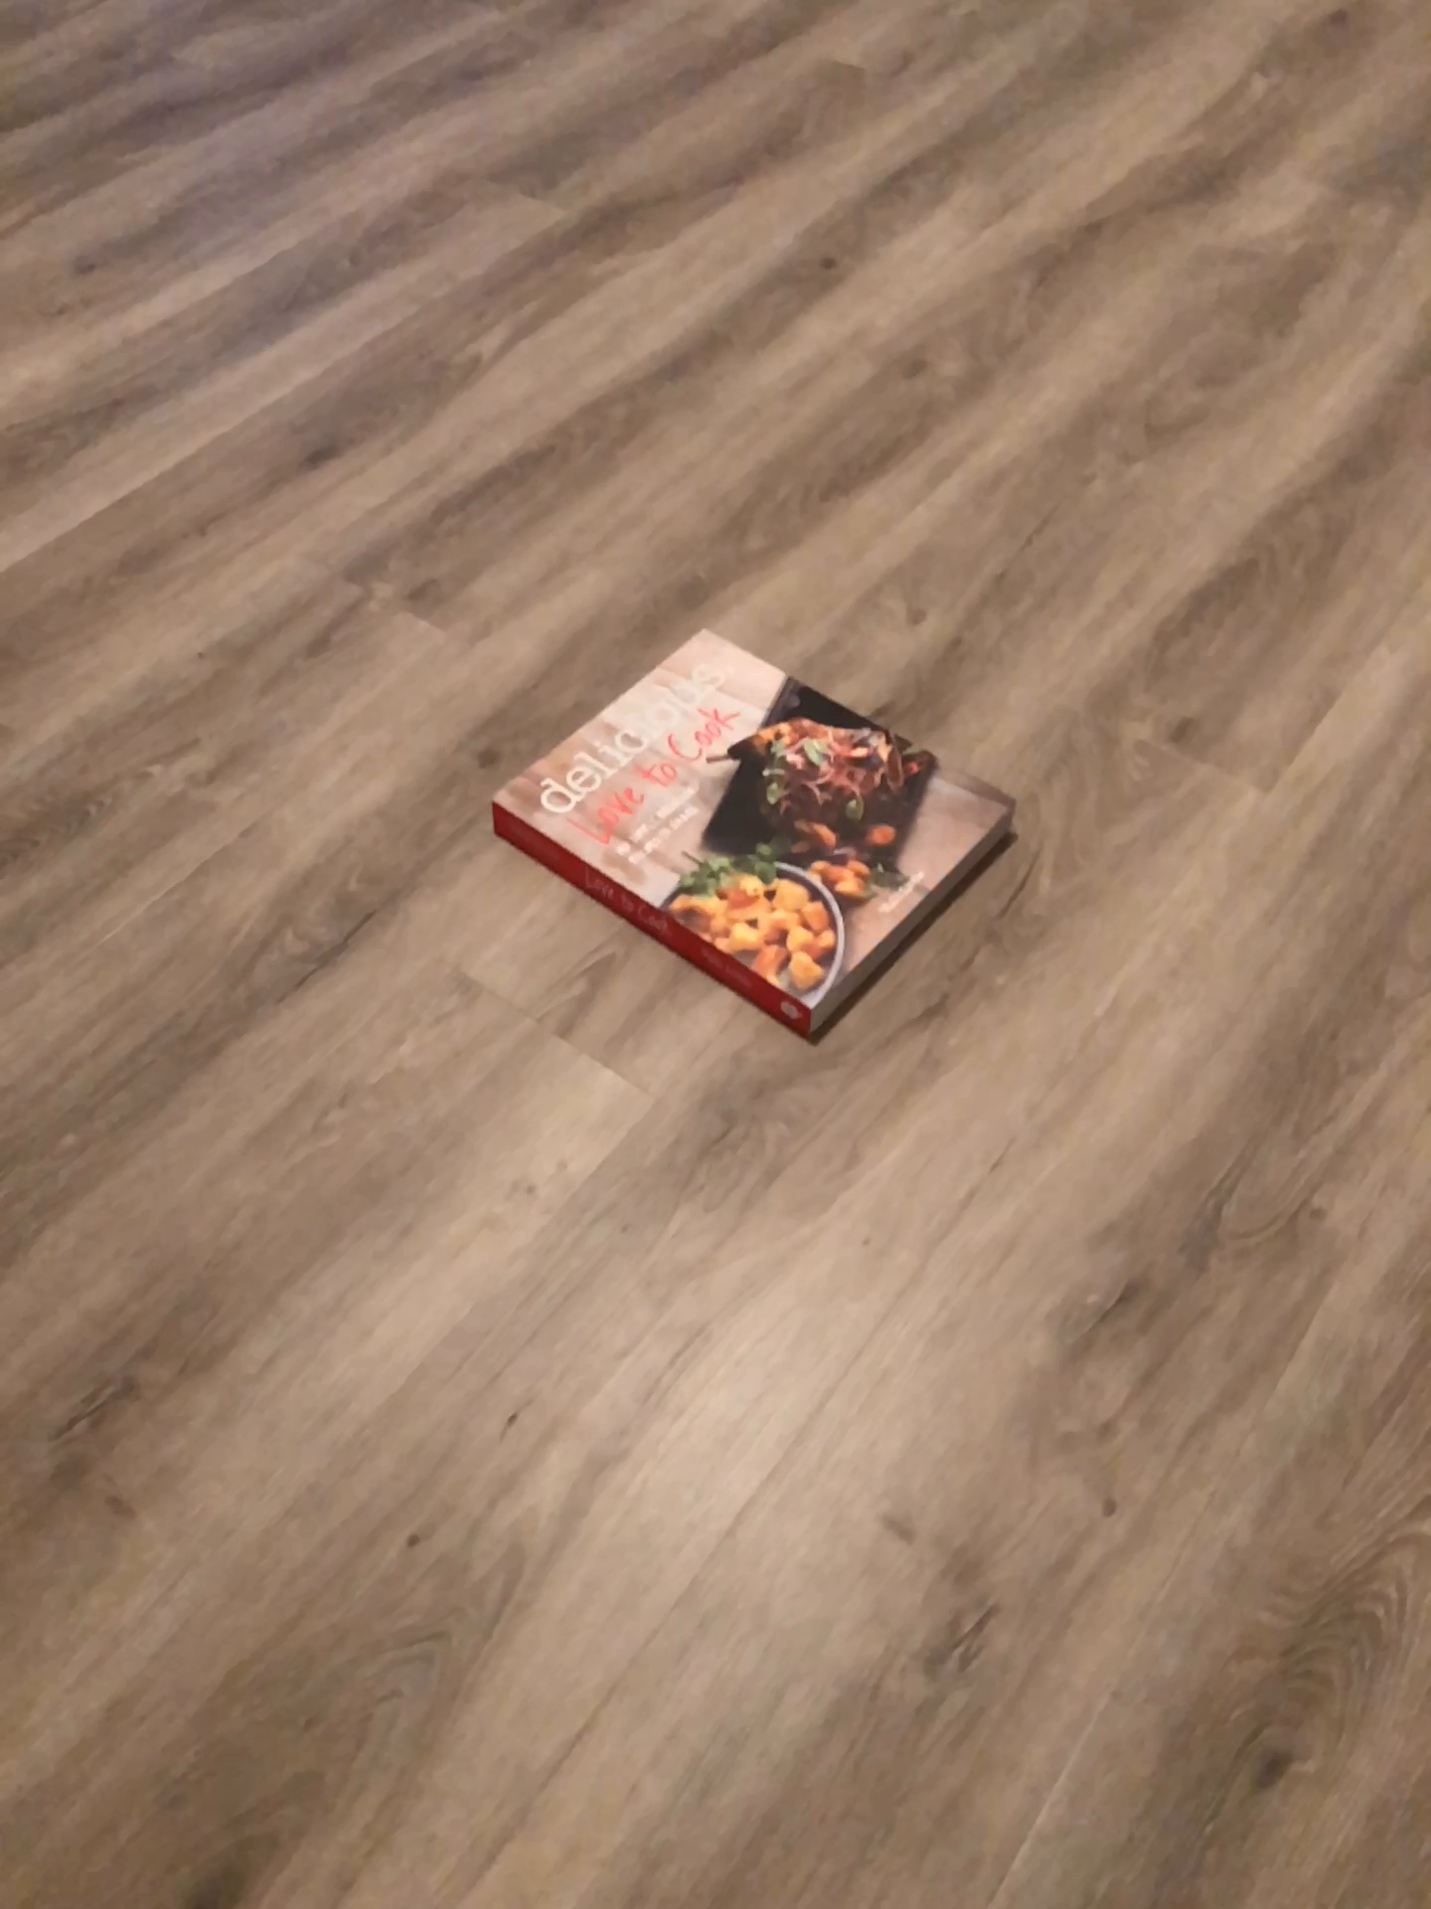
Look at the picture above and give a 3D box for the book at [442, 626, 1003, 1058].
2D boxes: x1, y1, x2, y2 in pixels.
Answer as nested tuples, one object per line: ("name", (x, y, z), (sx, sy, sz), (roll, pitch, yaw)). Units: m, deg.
("book", (0.003, -0.088, 1.037), (0.290, 0.030, 0.222), (33, 60, 25))
